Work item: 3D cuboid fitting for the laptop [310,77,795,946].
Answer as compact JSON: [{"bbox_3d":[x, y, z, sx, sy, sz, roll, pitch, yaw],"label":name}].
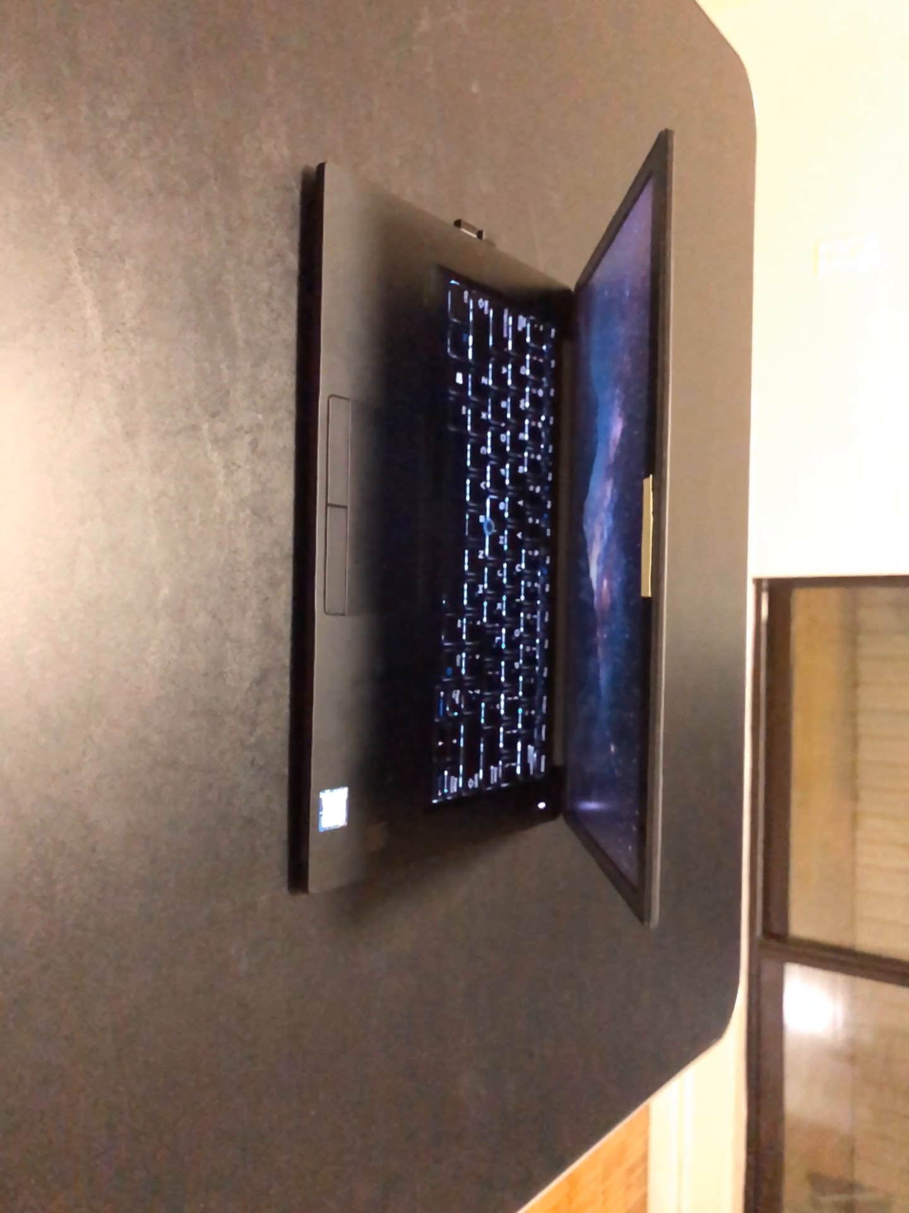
[{"bbox_3d":[0.061,-0.037,0.499,0.221,0.142,0.318,2,89,-54],"label":"laptop"}]
